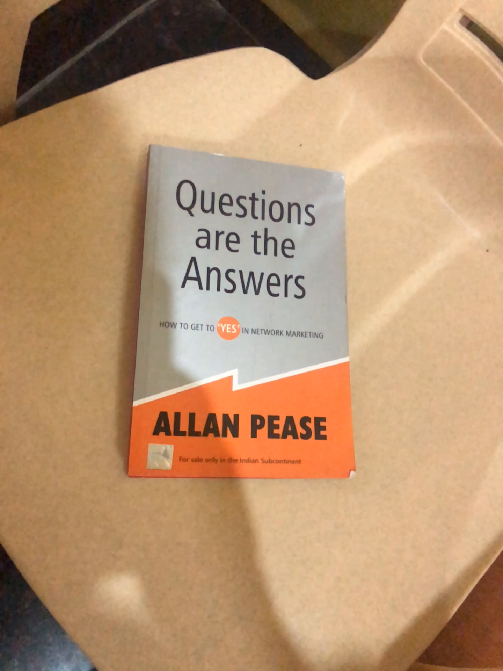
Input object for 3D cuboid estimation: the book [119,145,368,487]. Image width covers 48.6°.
[{"bbox_3d":[-0.001,-0.012,0.359,0.150,0.020,0.210,3,78,-11],"label":"book"}]
